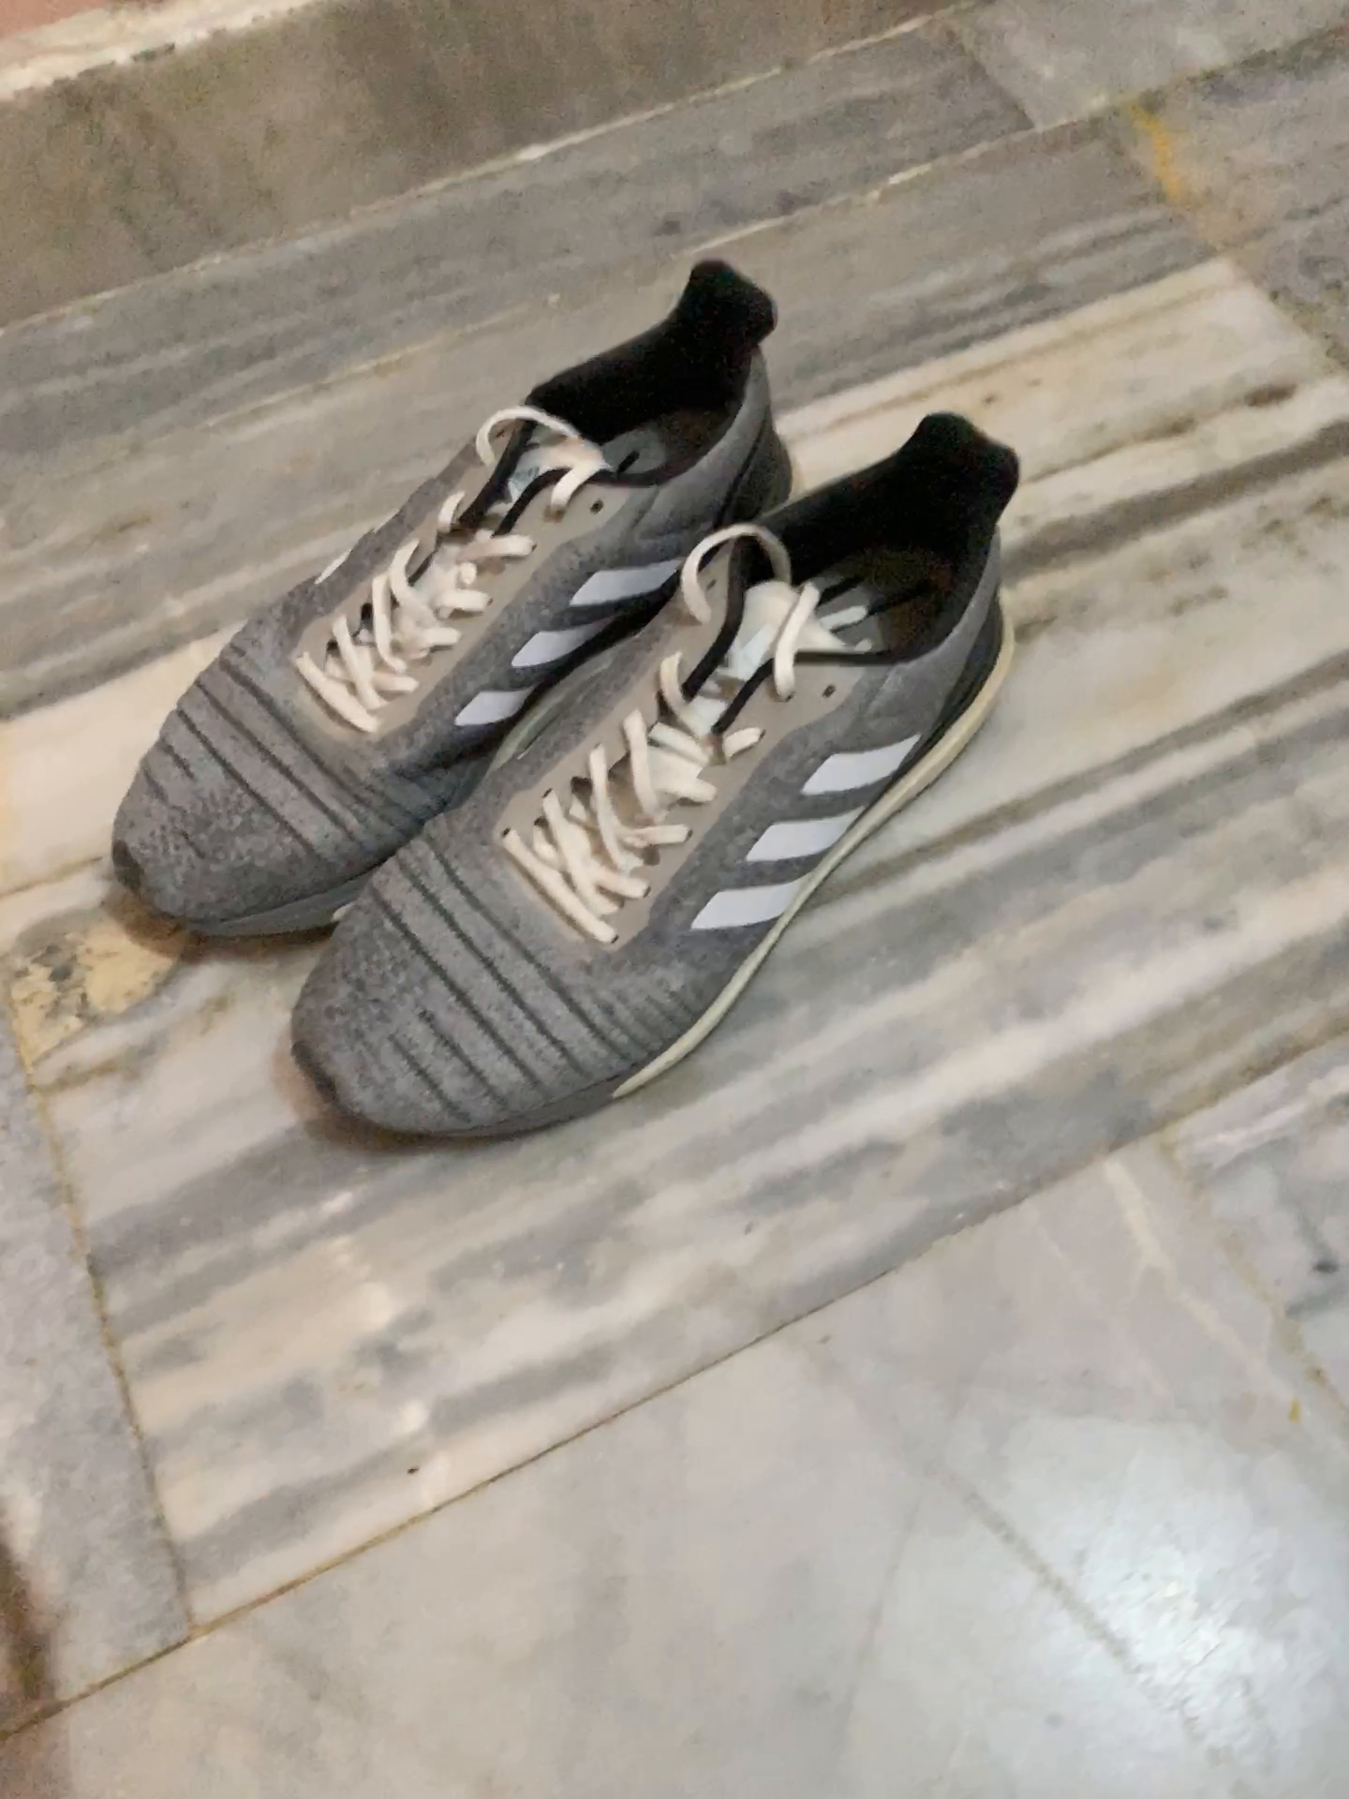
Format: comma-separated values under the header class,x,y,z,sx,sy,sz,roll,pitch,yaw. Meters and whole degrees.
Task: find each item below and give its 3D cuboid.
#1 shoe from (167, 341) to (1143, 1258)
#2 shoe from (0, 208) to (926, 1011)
class,x,y,z,sx,sy,sz,roll,pitch,yaw
shoe,0.004,-0.043,0.462,0.120,0.090,0.299,40,70,19
shoe,-0.064,-0.111,0.492,0.309,0.080,0.110,-39,69,-18
